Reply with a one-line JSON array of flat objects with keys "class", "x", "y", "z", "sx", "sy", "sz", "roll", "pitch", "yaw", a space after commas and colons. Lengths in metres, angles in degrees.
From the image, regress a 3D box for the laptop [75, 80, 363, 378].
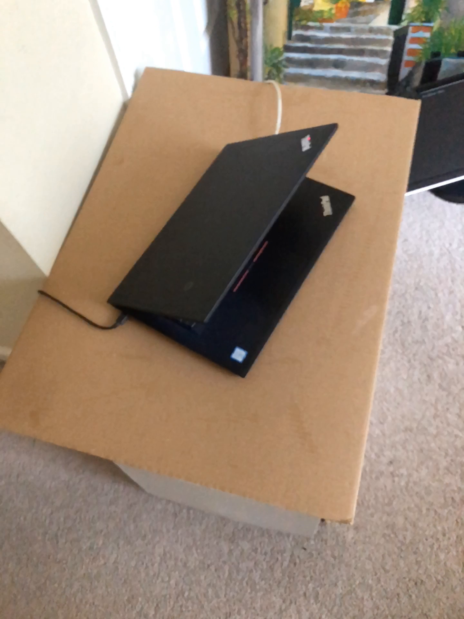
[{"class": "laptop", "x": -0.004, "y": -0.122, "z": 0.715, "sx": 0.232, "sy": 0.140, "sz": 0.335, "roll": 26, "pitch": 69, "yaw": 19}]
